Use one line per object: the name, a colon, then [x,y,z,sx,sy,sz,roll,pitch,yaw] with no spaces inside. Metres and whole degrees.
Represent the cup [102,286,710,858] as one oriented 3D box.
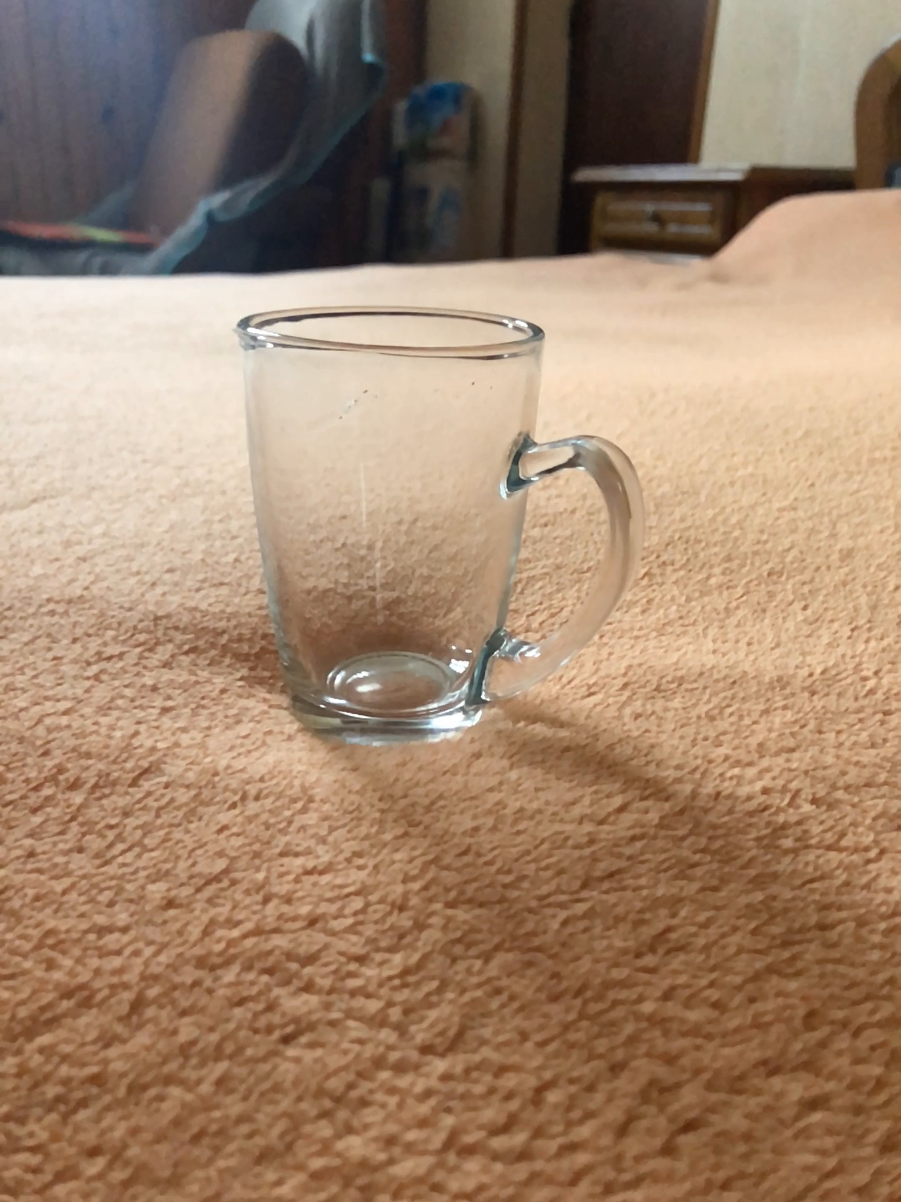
cup: [-0.008,-0.016,0.218,0.100,0.090,0.070,13,24,25]
